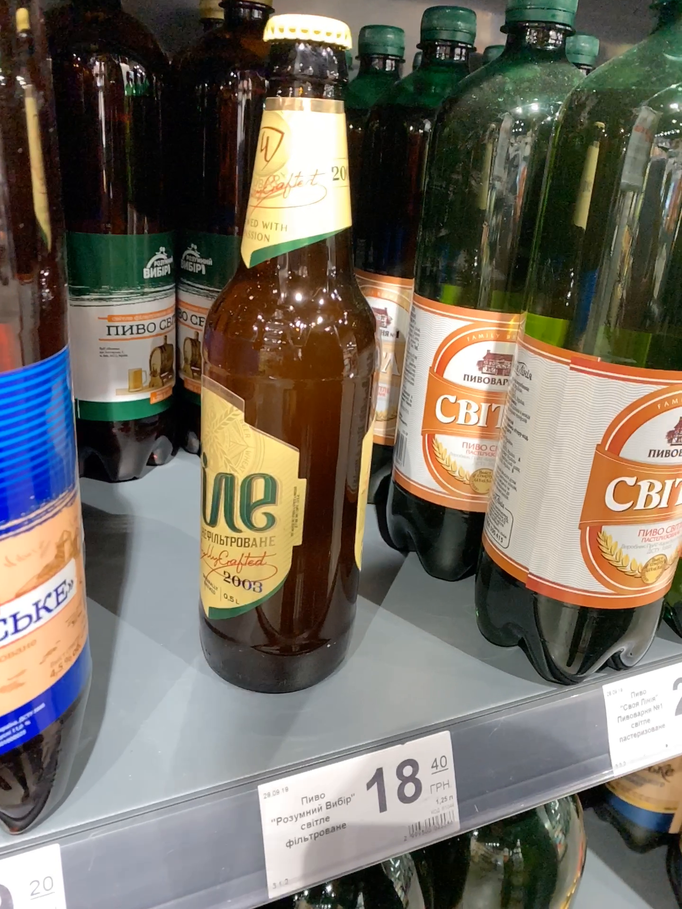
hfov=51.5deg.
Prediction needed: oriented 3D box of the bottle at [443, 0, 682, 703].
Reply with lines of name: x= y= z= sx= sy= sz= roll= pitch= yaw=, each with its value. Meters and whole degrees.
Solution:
bottle: x=0.113 y=-0.043 z=0.284 sx=0.084 sy=0.277 sz=0.070 roll=-6 pitch=25 yaw=-23

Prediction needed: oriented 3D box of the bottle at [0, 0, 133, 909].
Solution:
bottle: x=-0.112 y=-0.024 z=0.183 sx=0.084 sy=0.283 sz=0.070 roll=-10 pitch=27 yaw=-30

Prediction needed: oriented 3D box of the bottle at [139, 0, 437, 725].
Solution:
bottle: x=-0.027 y=-0.026 z=0.276 sx=0.070 sy=0.248 sz=0.068 roll=4 pitch=23 yaw=-2
